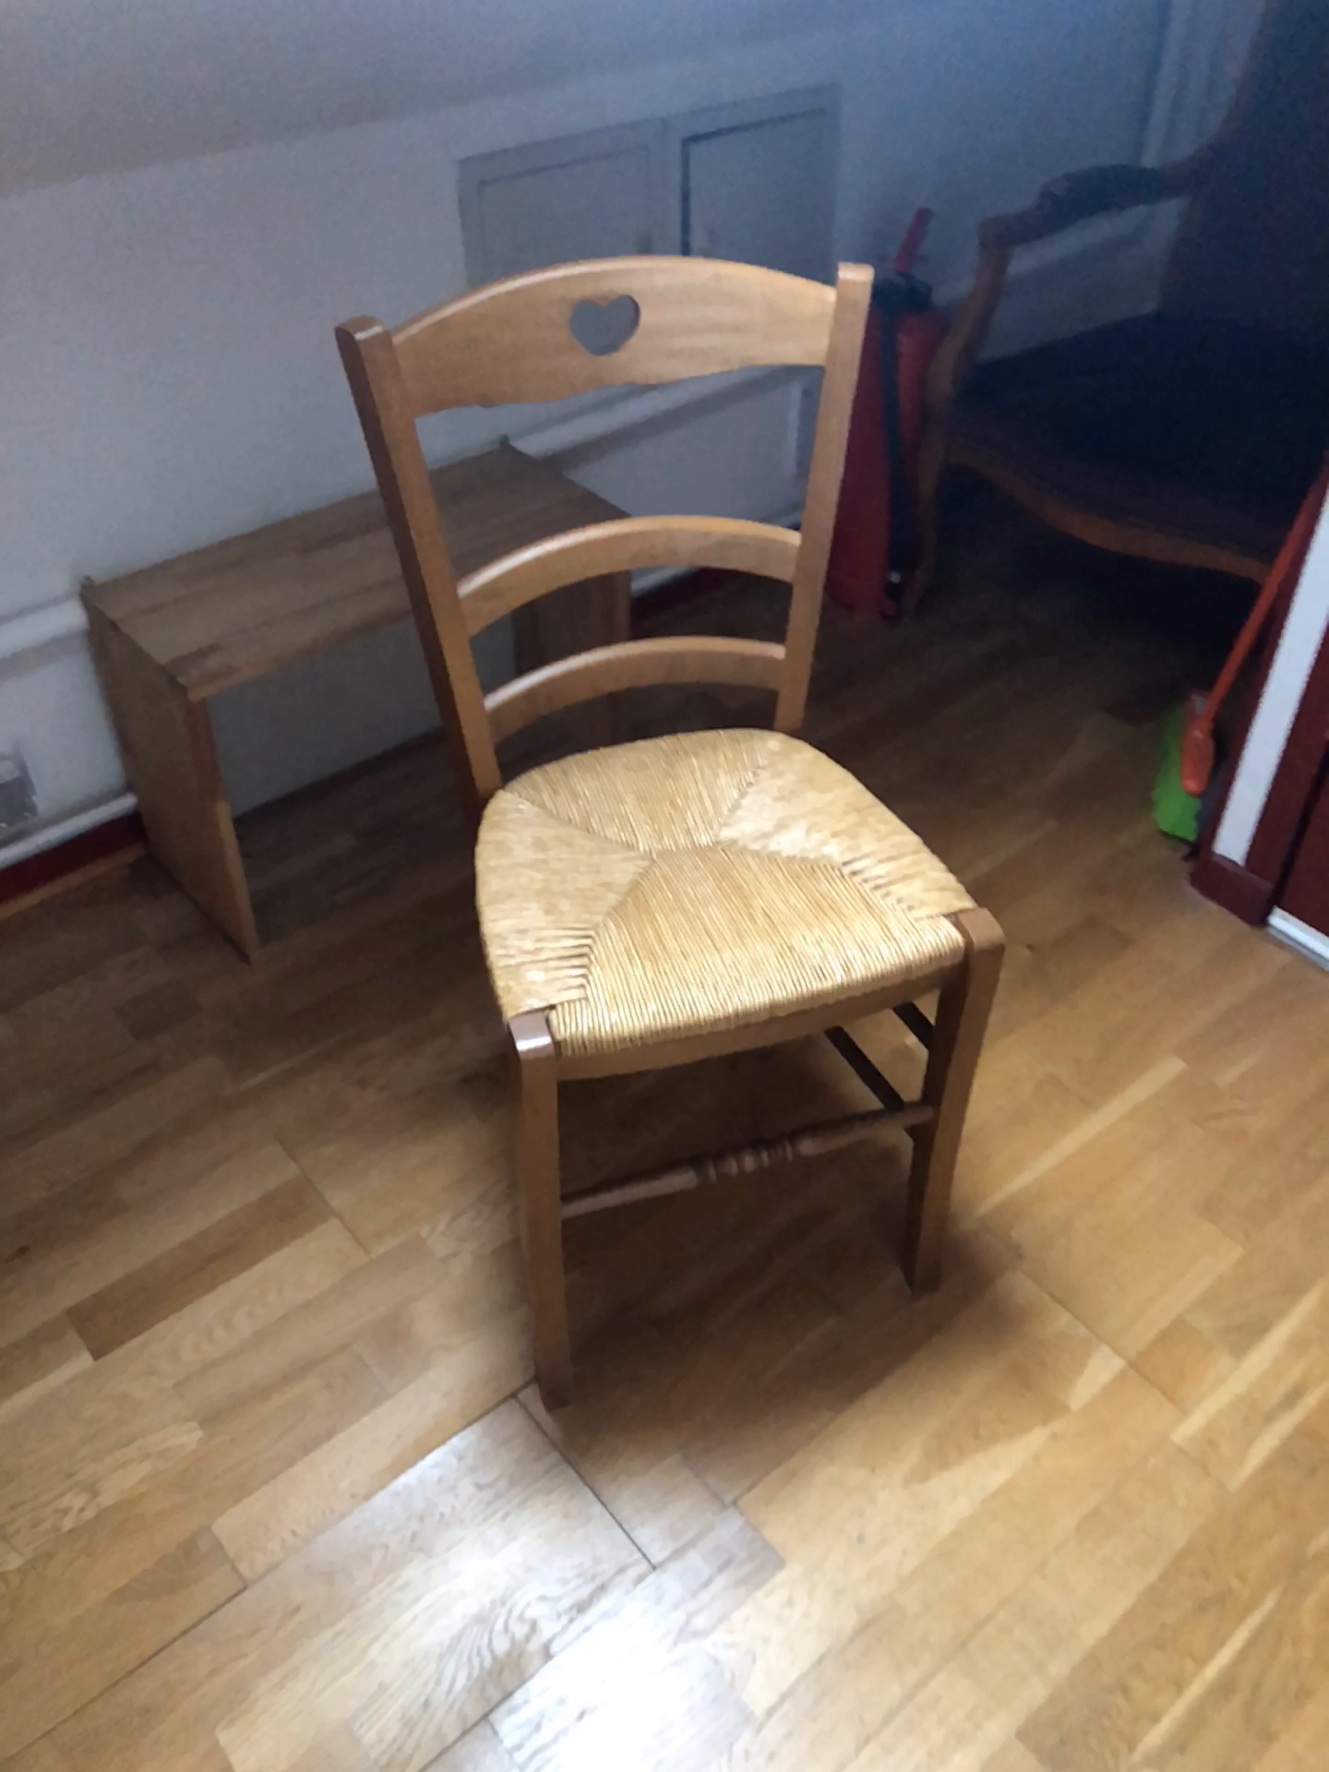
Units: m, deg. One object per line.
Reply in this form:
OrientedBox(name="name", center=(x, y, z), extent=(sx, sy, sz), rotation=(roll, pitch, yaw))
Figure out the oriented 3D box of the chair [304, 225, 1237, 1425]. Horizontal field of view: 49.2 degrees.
OrientedBox(name="chair", center=(0.032, -0.034, 1.176), extent=(0.459, 0.792, 0.435), rotation=(-12, 42, -16))
